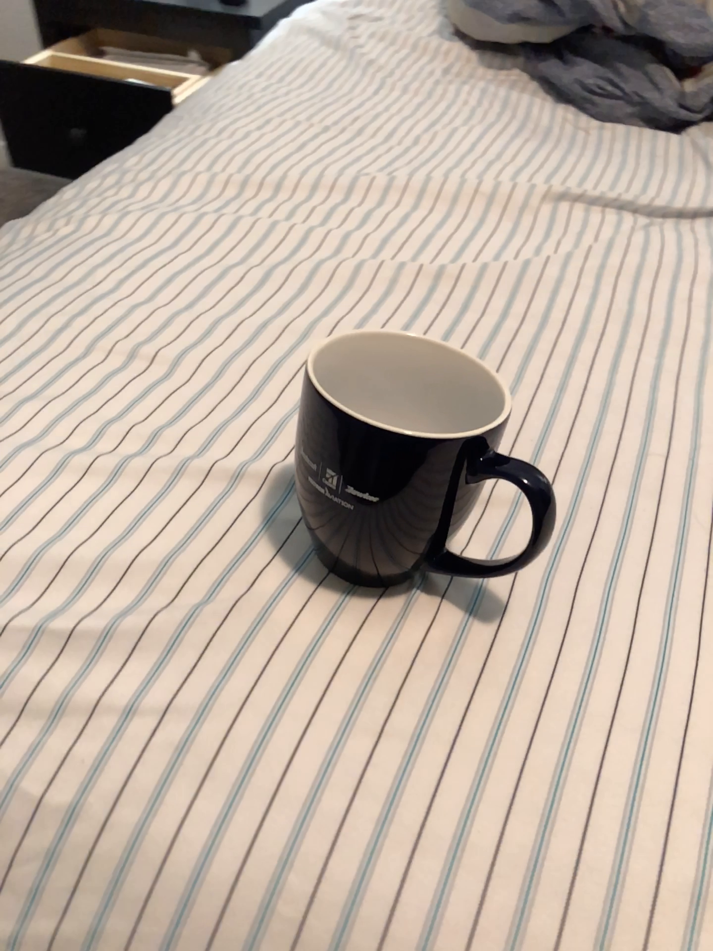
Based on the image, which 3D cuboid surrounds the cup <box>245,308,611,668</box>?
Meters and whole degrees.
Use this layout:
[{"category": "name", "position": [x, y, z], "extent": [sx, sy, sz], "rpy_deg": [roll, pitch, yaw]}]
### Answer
[{"category": "cup", "position": [0.027, -0.001, 0.373], "extent": [0.130, 0.090, 0.090], "rpy_deg": [32, 43, 27]}]
